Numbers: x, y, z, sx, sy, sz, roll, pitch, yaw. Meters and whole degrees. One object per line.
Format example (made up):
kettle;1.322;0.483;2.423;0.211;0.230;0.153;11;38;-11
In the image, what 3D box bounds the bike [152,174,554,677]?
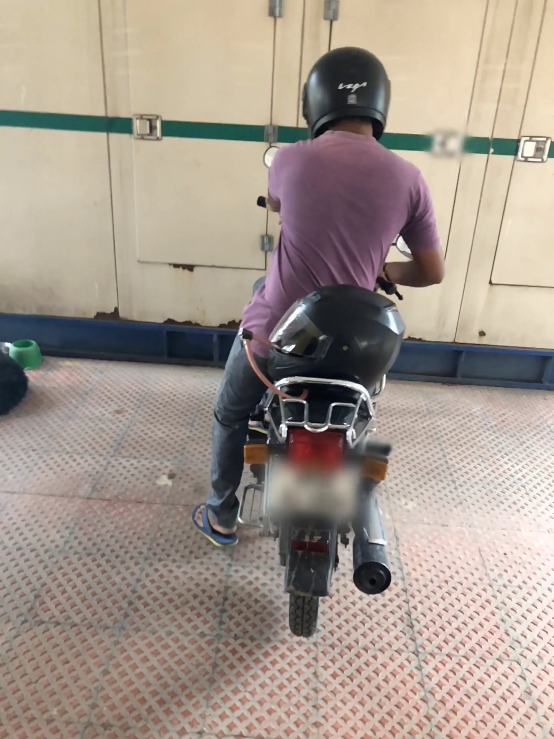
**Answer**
bike;0.317;-0.023;2.092;0.814;0.927;1.603;8;28;9
